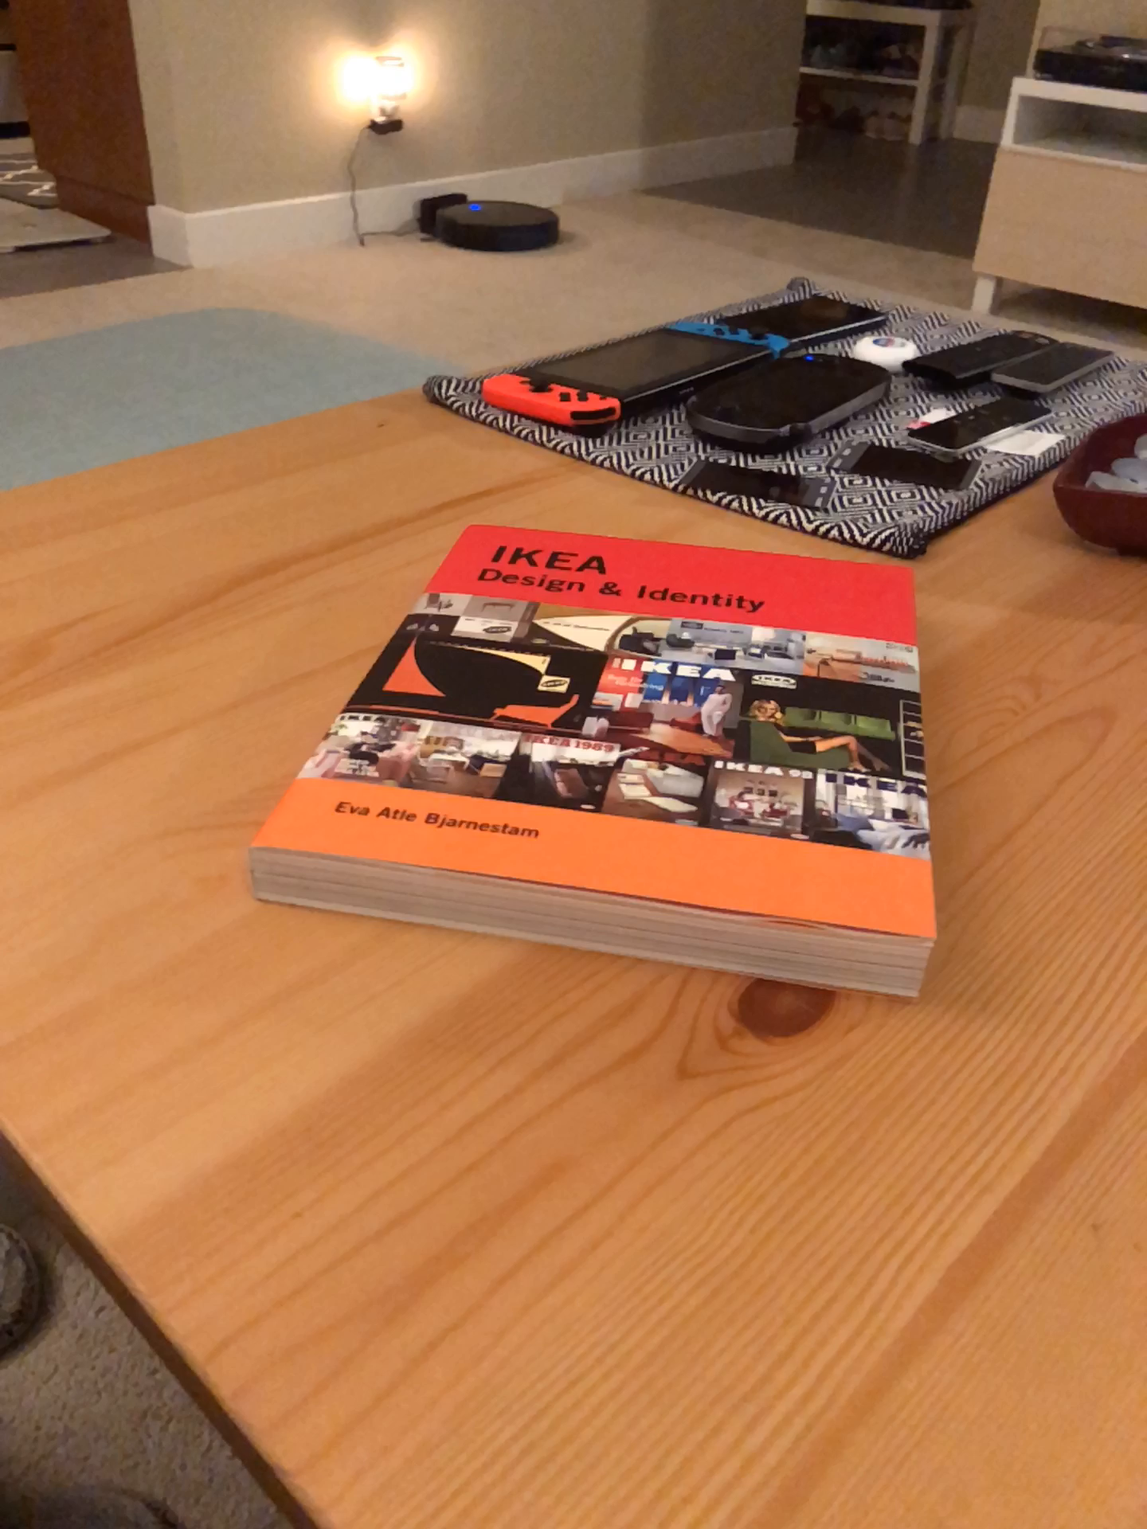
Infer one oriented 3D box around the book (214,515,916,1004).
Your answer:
[{"bbox_3d":[0.017,-0.024,0.493,0.216,0.030,0.256,8,34,8],"label":"book"}]
